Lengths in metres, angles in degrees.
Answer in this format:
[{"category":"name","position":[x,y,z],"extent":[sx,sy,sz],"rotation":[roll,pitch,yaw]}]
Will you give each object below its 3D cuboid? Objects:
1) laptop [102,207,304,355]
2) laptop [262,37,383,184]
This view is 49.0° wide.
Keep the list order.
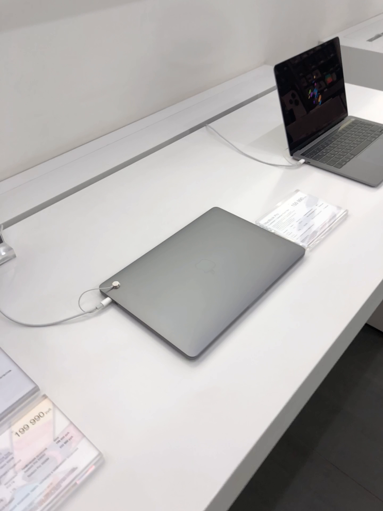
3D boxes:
[{"category":"laptop","position":[0.024,0.021,0.702],"extent":[0.202,0.001,0.280],"rotation":[31,52,31]},{"category":"laptop","position":[0.379,-0.353,0.977],"extent":[0.276,0.187,0.310],"rotation":[28,47,28]}]
